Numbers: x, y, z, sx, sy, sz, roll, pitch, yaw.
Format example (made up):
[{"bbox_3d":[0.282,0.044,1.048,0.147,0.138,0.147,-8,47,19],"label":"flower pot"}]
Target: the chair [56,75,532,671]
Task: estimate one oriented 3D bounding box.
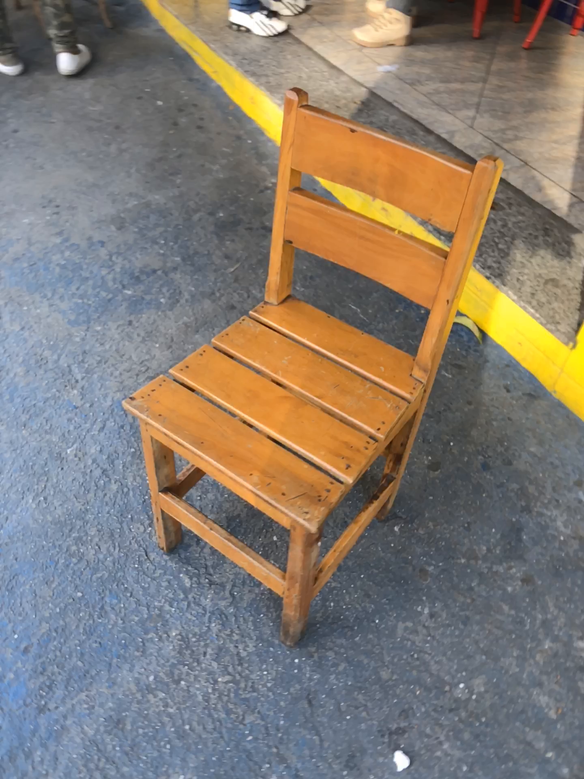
[{"bbox_3d":[-0.003,0.009,1.073,0.401,0.804,0.442,30,50,23],"label":"chair"}]
